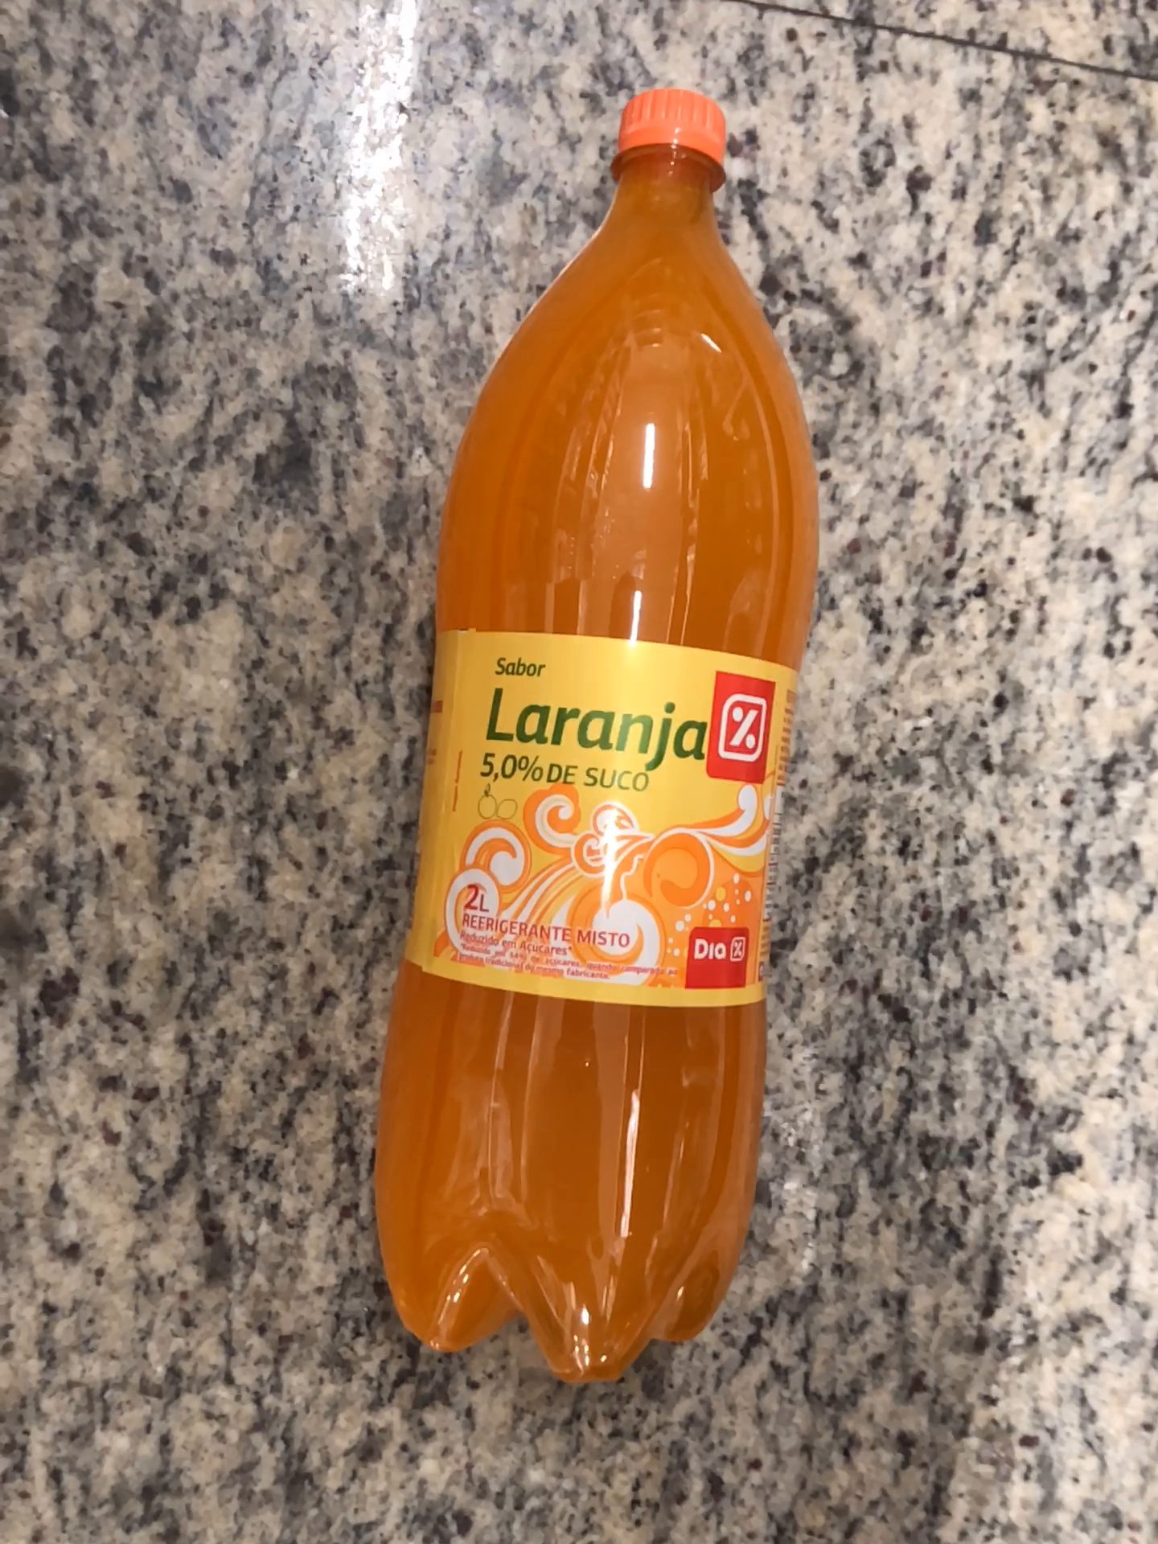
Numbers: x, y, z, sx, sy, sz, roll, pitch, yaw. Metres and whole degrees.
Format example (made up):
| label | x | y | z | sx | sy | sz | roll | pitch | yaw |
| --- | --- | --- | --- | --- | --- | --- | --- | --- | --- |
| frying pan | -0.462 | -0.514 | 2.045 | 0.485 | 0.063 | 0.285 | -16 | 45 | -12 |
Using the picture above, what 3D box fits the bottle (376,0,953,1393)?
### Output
| label | x | y | z | sx | sy | sz | roll | pitch | yaw |
| --- | --- | --- | --- | --- | --- | --- | --- | --- | --- |
| bottle | 0.020 | -0.023 | 0.352 | 0.120 | 0.070 | 0.350 | 5 | 88 | -10 |
